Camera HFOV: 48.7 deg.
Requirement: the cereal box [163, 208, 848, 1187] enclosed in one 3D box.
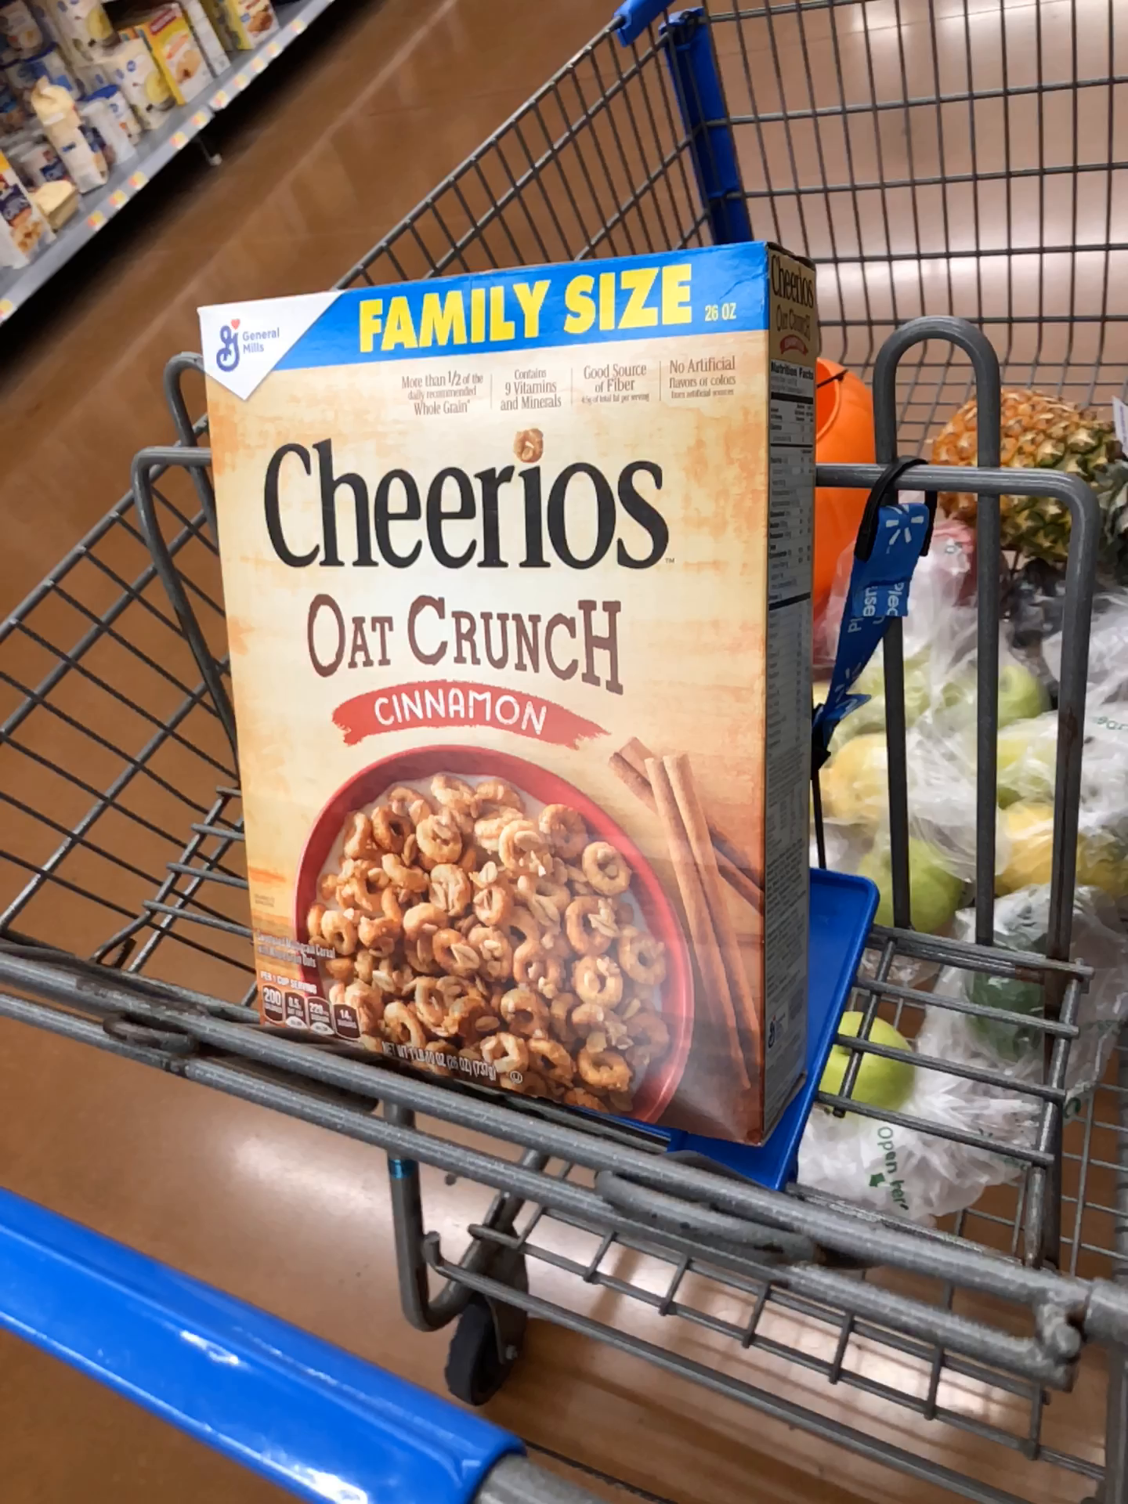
[{"bbox_3d":[-0.023,-0.022,0.504,0.250,0.330,0.080,5,15,27],"label":"cereal box"}]
